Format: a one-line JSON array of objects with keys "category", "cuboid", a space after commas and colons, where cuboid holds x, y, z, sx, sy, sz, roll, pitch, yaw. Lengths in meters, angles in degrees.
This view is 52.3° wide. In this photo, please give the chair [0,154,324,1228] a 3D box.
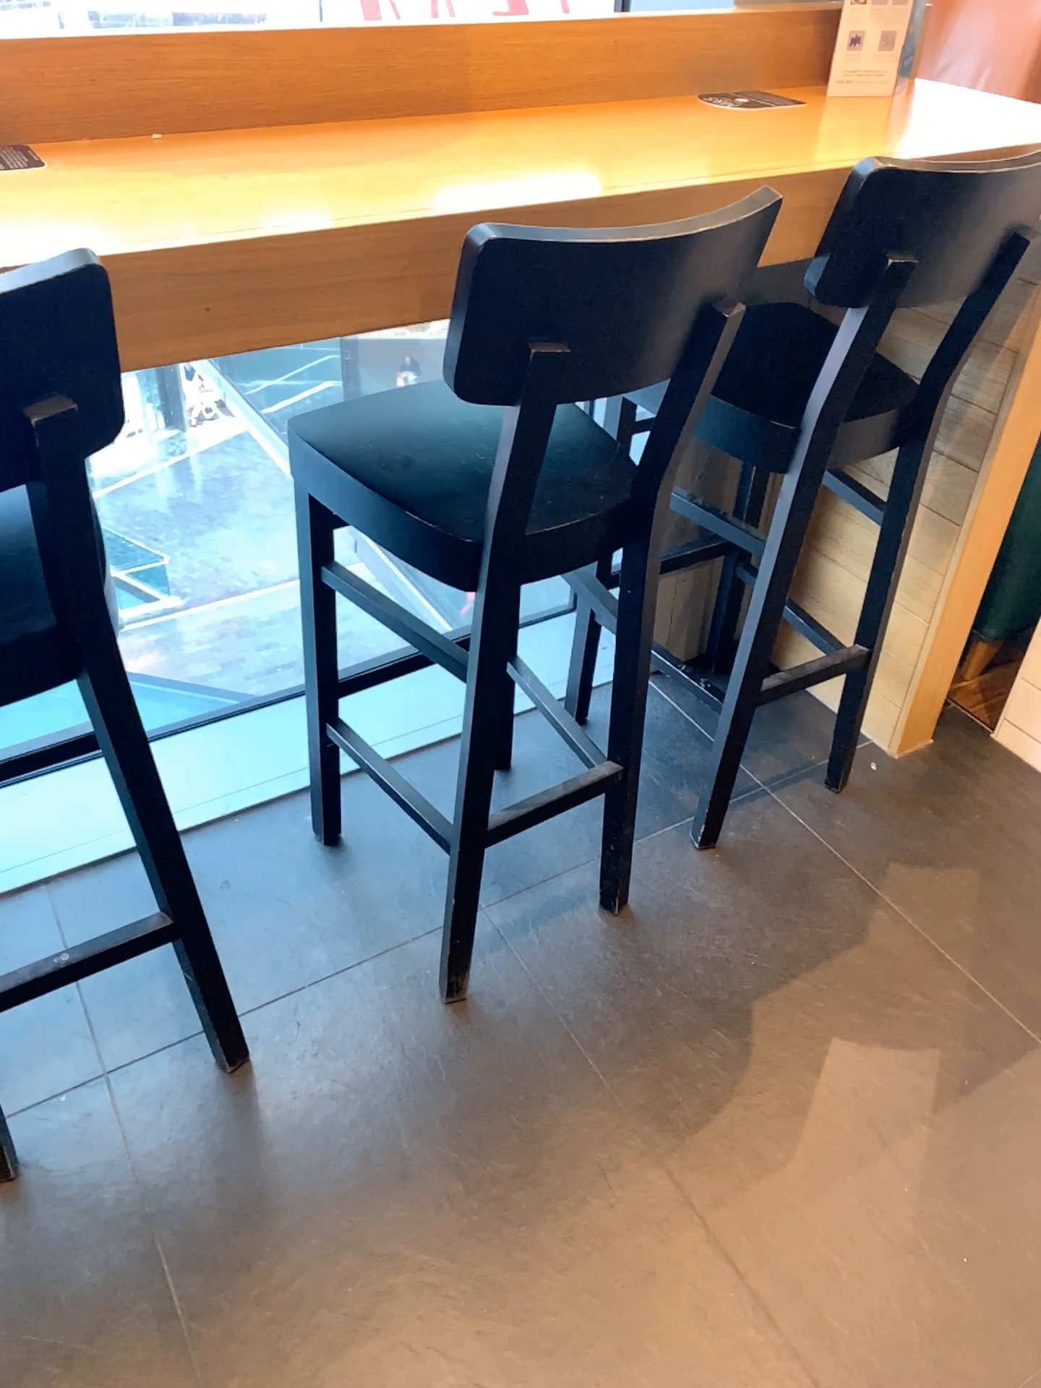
[{"category": "chair", "cuboid": [-0.527, 0.028, 1.147, 0.393, 1.001, 0.464, -19, 42, -25]}]

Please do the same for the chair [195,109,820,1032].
[{"category": "chair", "cuboid": [-0.041, -0.140, 1.375, 0.454, 1.001, 0.463, -22, 43, -28]}]

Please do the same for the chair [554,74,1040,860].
[{"category": "chair", "cuboid": [0.379, -0.325, 1.614, 0.424, 1.001, 0.463, -20, 42, -27]}]
